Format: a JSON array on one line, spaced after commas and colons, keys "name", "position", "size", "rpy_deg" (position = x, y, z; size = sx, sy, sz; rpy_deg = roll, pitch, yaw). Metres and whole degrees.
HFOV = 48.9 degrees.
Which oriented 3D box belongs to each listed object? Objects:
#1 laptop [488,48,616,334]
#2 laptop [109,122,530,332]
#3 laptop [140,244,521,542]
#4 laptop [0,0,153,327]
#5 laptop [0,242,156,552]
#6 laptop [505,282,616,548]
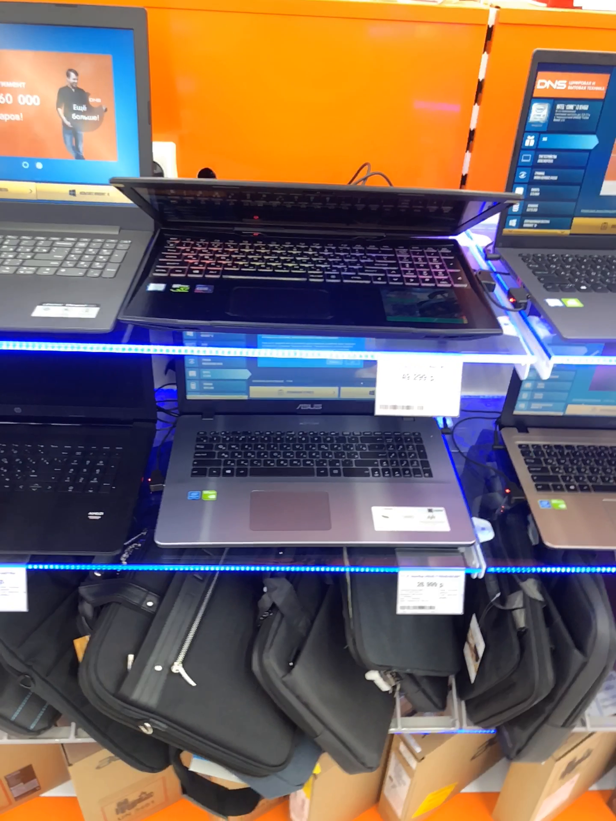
[{"name": "laptop", "position": [0.430, -0.235, 0.710], "size": [0.352, 0.216, 0.231], "rpy_deg": [-2, 35, -6]}, {"name": "laptop", "position": [0.009, -0.203, 0.717], "size": [0.364, 0.121, 0.244], "rpy_deg": [2, 35, -3]}, {"name": "laptop", "position": [0.019, -0.030, 0.885], "size": [0.394, 0.256, 0.288], "rpy_deg": [1, 36, -3]}, {"name": "laptop", "position": [-0.366, -0.273, 0.691], "size": [0.358, 0.228, 0.319], "rpy_deg": [2, 34, -4]}, {"name": "laptop", "position": [-0.430, -0.023, 0.838], "size": [0.406, 0.270, 0.274], "rpy_deg": [2, 34, -3]}, {"name": "laptop", "position": [0.488, 0.002, 0.869], "size": [0.359, 0.240, 0.231], "rpy_deg": [1, 35, -2]}]
